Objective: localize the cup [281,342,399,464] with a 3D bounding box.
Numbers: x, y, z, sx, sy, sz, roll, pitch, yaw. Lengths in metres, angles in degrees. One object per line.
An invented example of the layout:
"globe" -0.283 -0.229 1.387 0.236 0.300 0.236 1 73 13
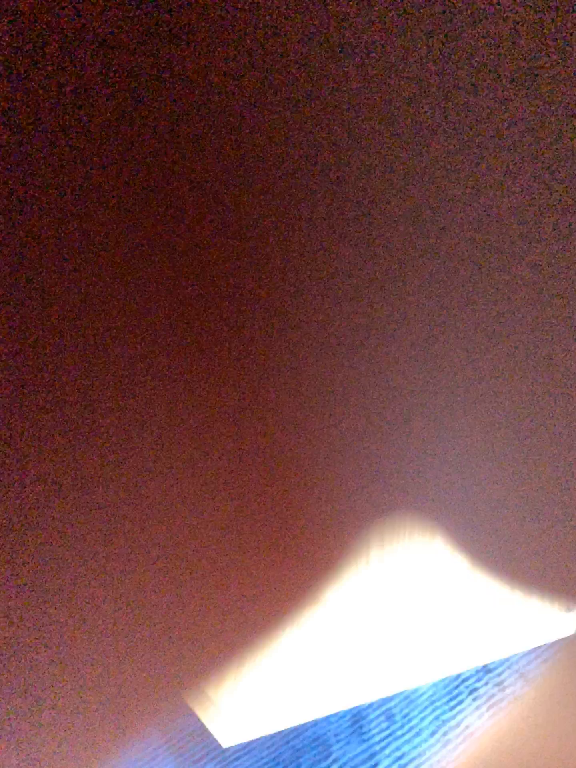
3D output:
"cup" 0.063 0.024 0.748 0.110 0.080 0.090 -25 62 -10
